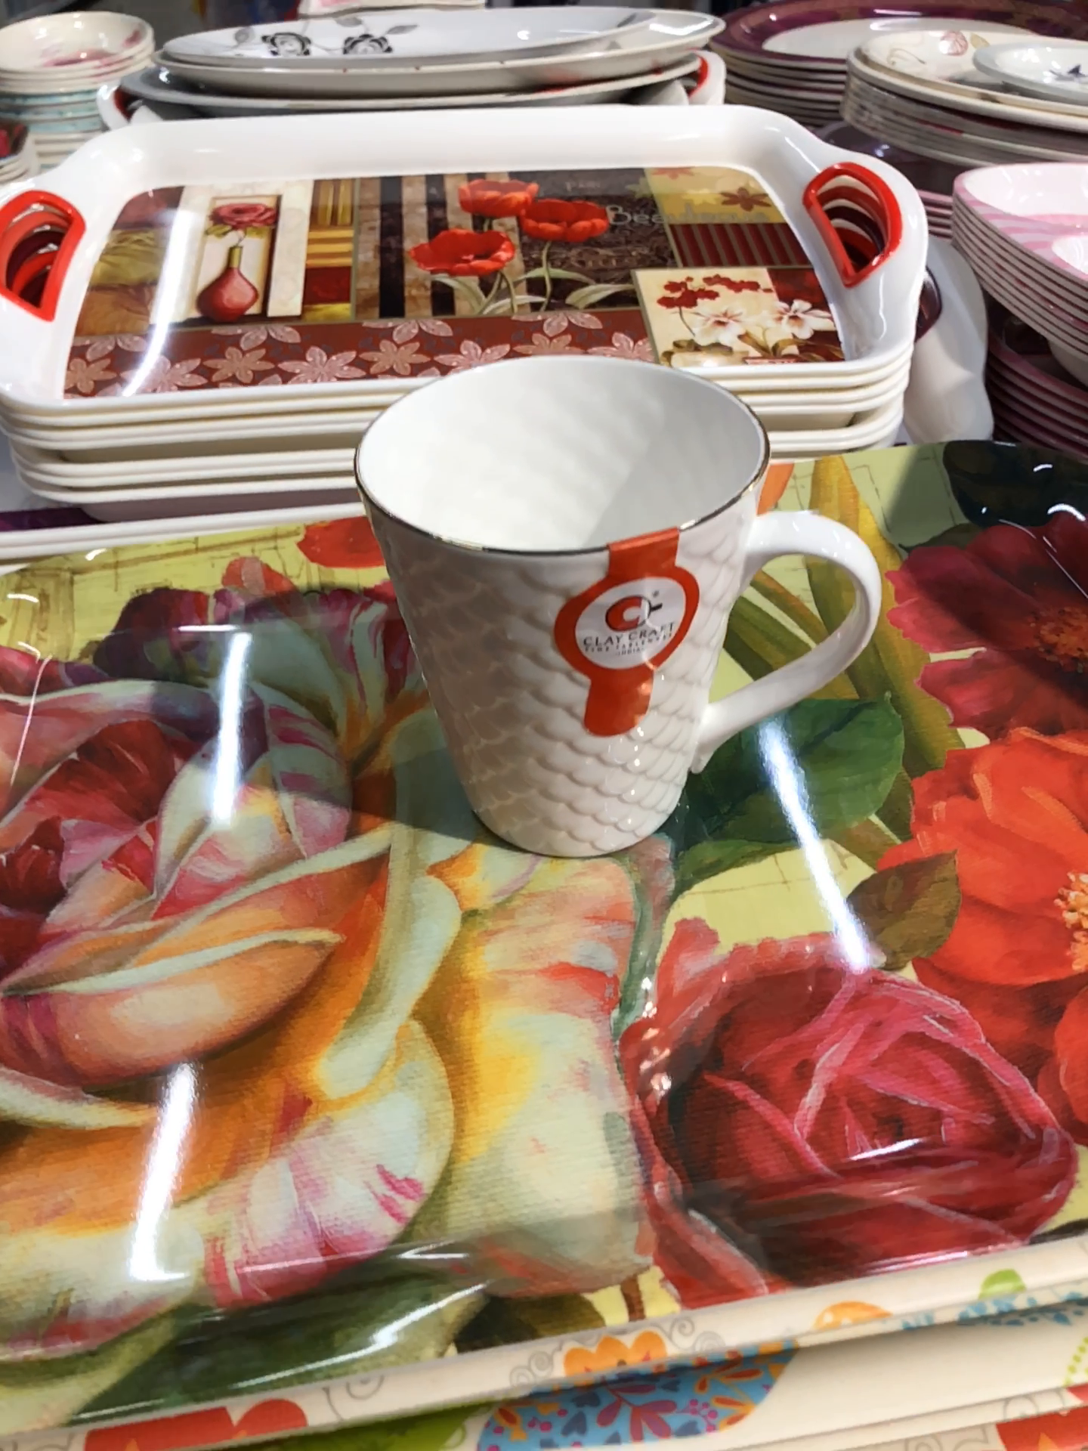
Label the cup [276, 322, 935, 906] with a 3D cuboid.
[{"bbox_3d":[0.018,-0.031,0.285,0.120,0.089,0.101,5,38,8],"label":"cup"}]
